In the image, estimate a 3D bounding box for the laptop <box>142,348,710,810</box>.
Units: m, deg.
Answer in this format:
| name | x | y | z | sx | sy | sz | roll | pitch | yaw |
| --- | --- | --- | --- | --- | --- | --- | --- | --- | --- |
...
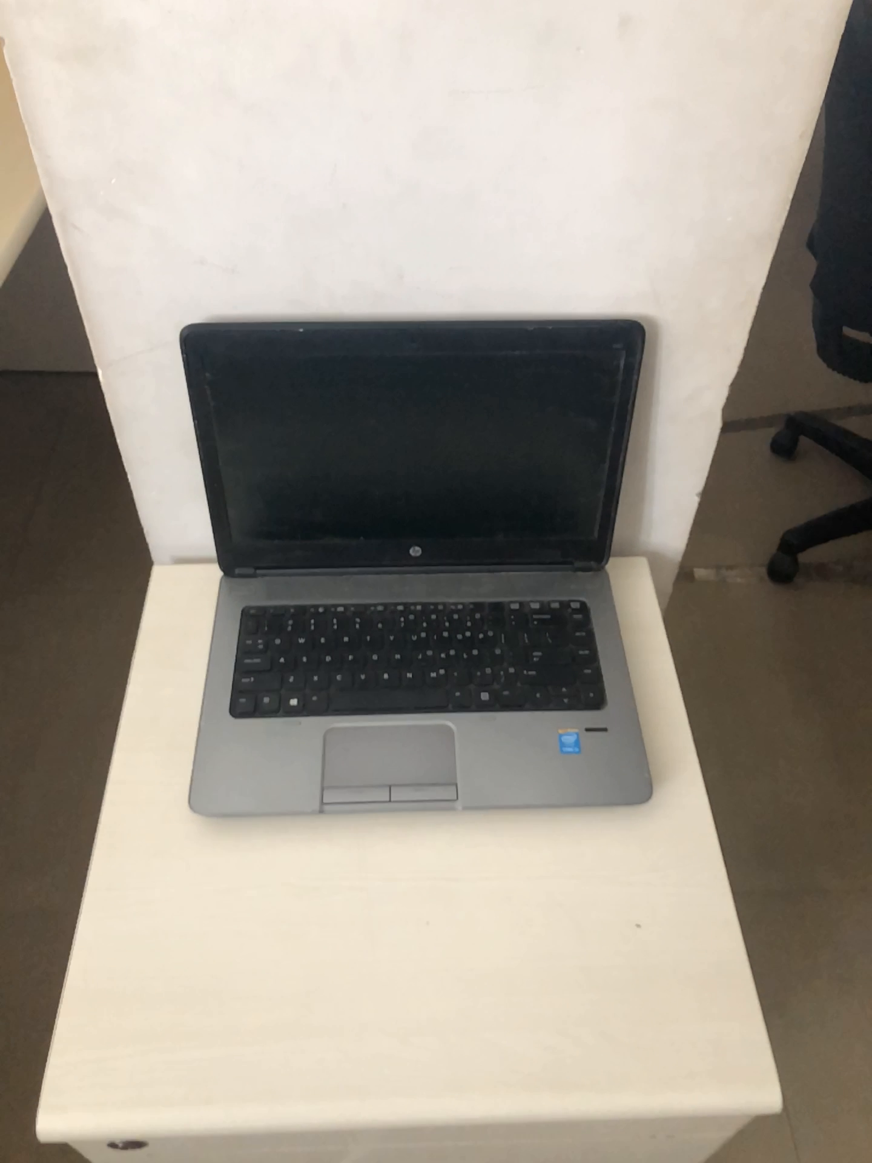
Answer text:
| name | x | y | z | sx | sy | sz | roll | pitch | yaw |
| --- | --- | --- | --- | --- | --- | --- | --- | --- | --- |
| laptop | -0.005 | -0.004 | 0.669 | 0.304 | 0.209 | 0.238 | -1 | 49 | -2 |
